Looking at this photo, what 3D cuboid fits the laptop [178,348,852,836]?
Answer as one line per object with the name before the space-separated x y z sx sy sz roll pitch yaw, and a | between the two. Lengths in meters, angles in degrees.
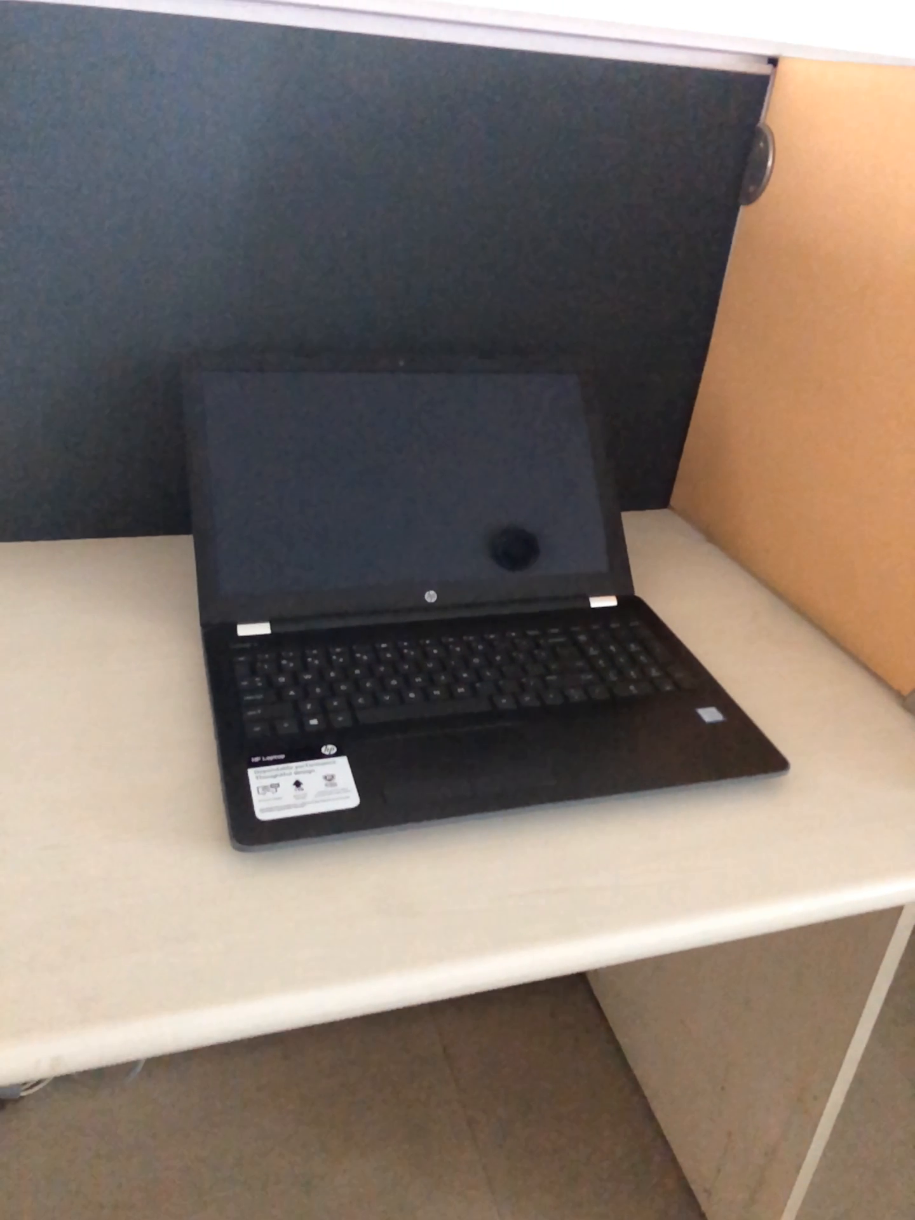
laptop | -0.002 -0.056 0.772 0.378 0.173 0.410 -4 30 -18
